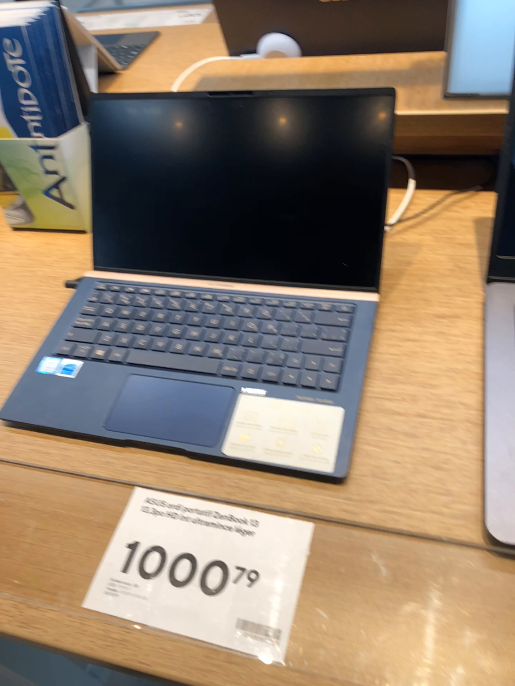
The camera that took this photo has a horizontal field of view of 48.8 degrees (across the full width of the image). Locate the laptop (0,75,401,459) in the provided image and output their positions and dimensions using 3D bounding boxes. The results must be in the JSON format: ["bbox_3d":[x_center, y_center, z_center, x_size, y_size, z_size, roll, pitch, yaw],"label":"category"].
[{"bbox_3d":[-0.045,-0.080,0.474,0.276,0.130,0.277,6,52,18],"label":"laptop"}]
